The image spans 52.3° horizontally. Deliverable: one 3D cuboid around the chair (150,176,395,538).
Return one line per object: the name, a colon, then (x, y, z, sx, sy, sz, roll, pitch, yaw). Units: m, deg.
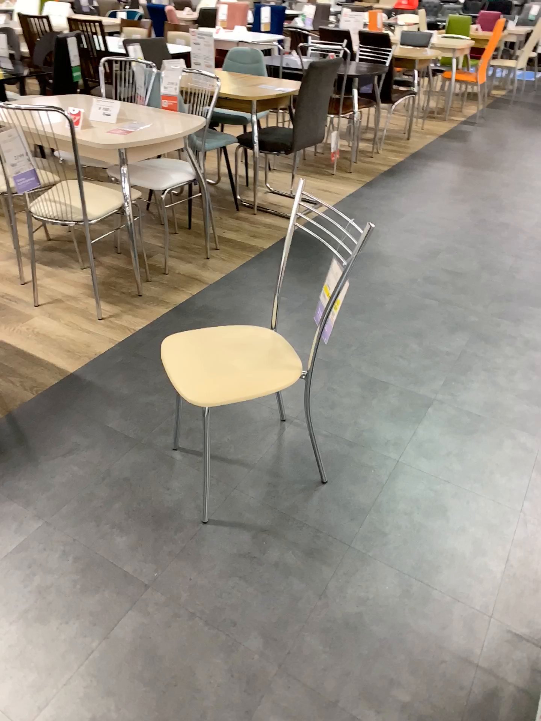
chair: (-0.026, -0.003, 1.620, 0.481, 0.905, 0.412, -13, 37, -21)
